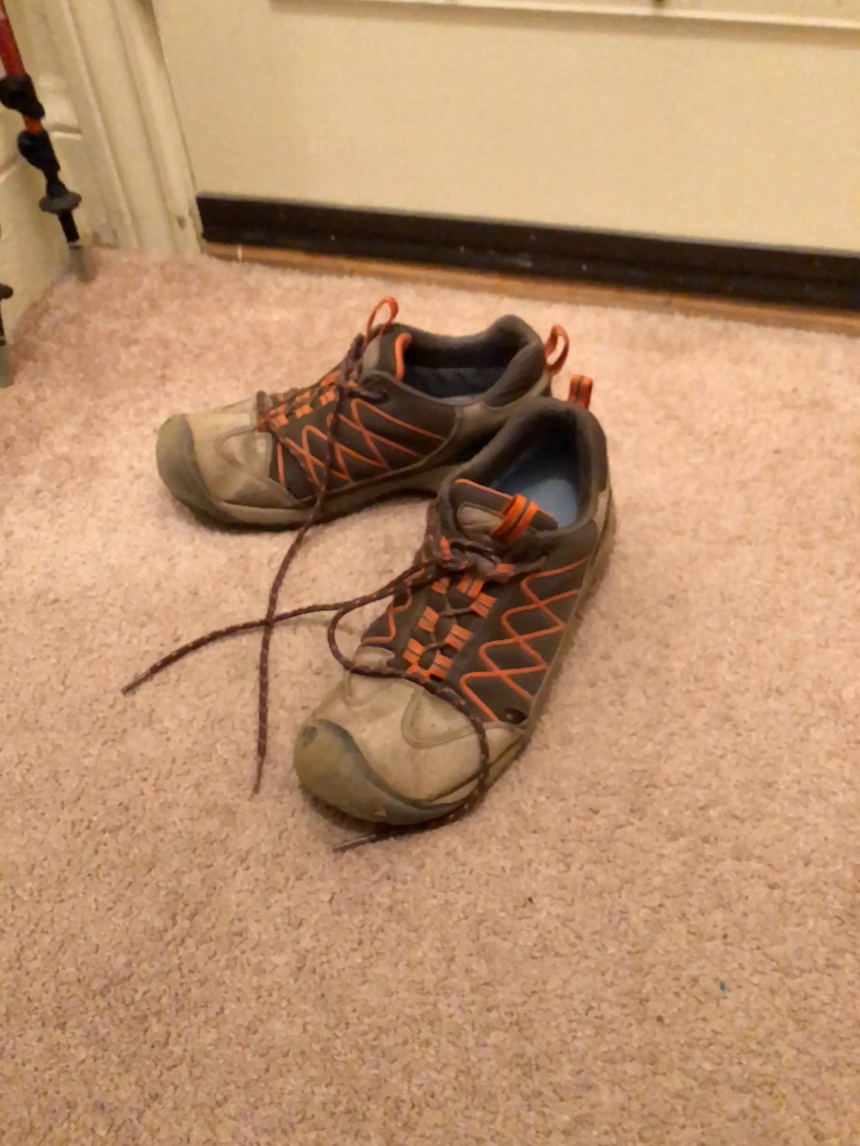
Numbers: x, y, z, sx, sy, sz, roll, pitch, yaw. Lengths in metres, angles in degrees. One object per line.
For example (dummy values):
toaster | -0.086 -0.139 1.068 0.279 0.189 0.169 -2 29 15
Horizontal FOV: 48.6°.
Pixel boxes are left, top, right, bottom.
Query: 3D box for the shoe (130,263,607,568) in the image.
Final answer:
shoe | -0.043 -0.113 0.681 0.300 0.129 0.121 -9 49 -5

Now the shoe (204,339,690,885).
shoe | 0.023 0.009 0.539 0.120 0.129 0.271 26 55 23
